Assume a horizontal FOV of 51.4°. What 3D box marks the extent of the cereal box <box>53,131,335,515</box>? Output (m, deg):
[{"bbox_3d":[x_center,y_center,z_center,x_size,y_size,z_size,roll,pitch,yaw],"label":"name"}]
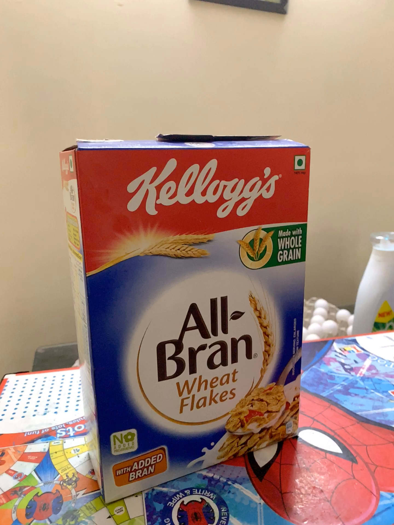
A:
[{"bbox_3d":[0.005,0.032,0.314,0.190,0.249,0.060,-7,14,-24],"label":"cereal box"}]
